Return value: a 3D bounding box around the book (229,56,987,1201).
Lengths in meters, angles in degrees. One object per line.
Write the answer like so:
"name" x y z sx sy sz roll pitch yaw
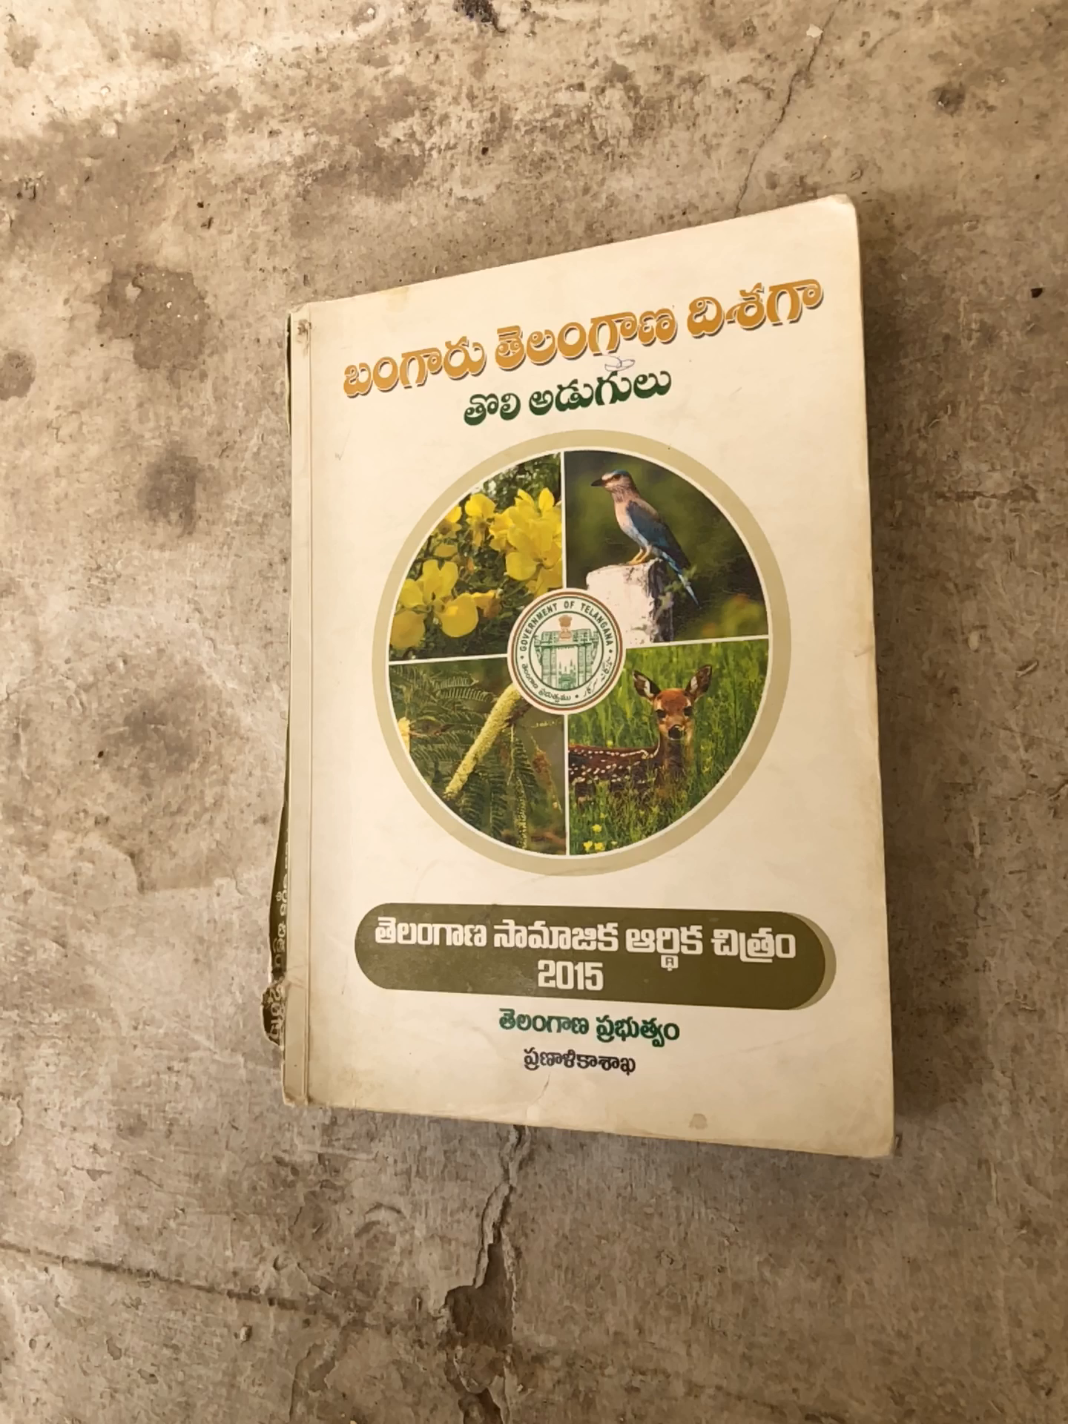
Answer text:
"book" 0.016 -0.021 0.367 0.220 0.060 0.290 -2 85 23
